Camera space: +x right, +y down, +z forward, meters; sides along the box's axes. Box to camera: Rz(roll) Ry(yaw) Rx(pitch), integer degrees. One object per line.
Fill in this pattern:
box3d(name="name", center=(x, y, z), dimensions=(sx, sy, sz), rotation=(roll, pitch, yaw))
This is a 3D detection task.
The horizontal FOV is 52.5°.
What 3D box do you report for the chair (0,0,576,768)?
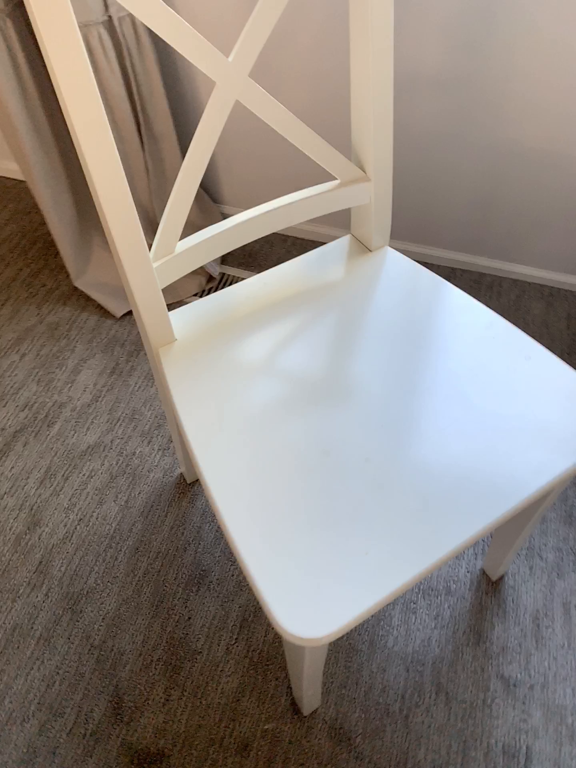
box3d(name="chair", center=(0.072, -0.055, 0.584), dimensions=(0.570, 0.856, 0.482), rotation=(-26, 57, -17))
